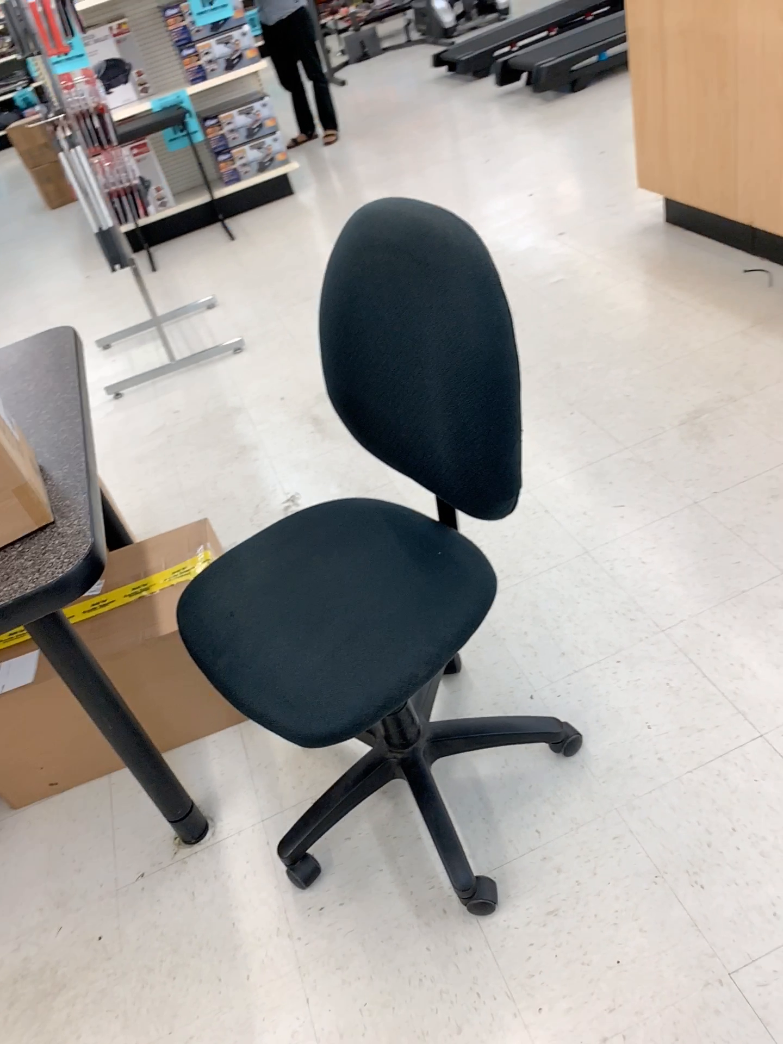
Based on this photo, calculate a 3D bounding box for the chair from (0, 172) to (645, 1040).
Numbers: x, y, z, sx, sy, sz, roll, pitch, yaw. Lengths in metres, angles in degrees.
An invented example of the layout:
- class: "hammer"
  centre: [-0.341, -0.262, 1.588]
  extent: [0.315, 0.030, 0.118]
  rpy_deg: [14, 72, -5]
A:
- class: "chair"
  centre: [-0.096, 0.104, 1.187]
  extent: [0.601, 0.965, 0.603]
  rpy_deg: [-35, 40, -22]
